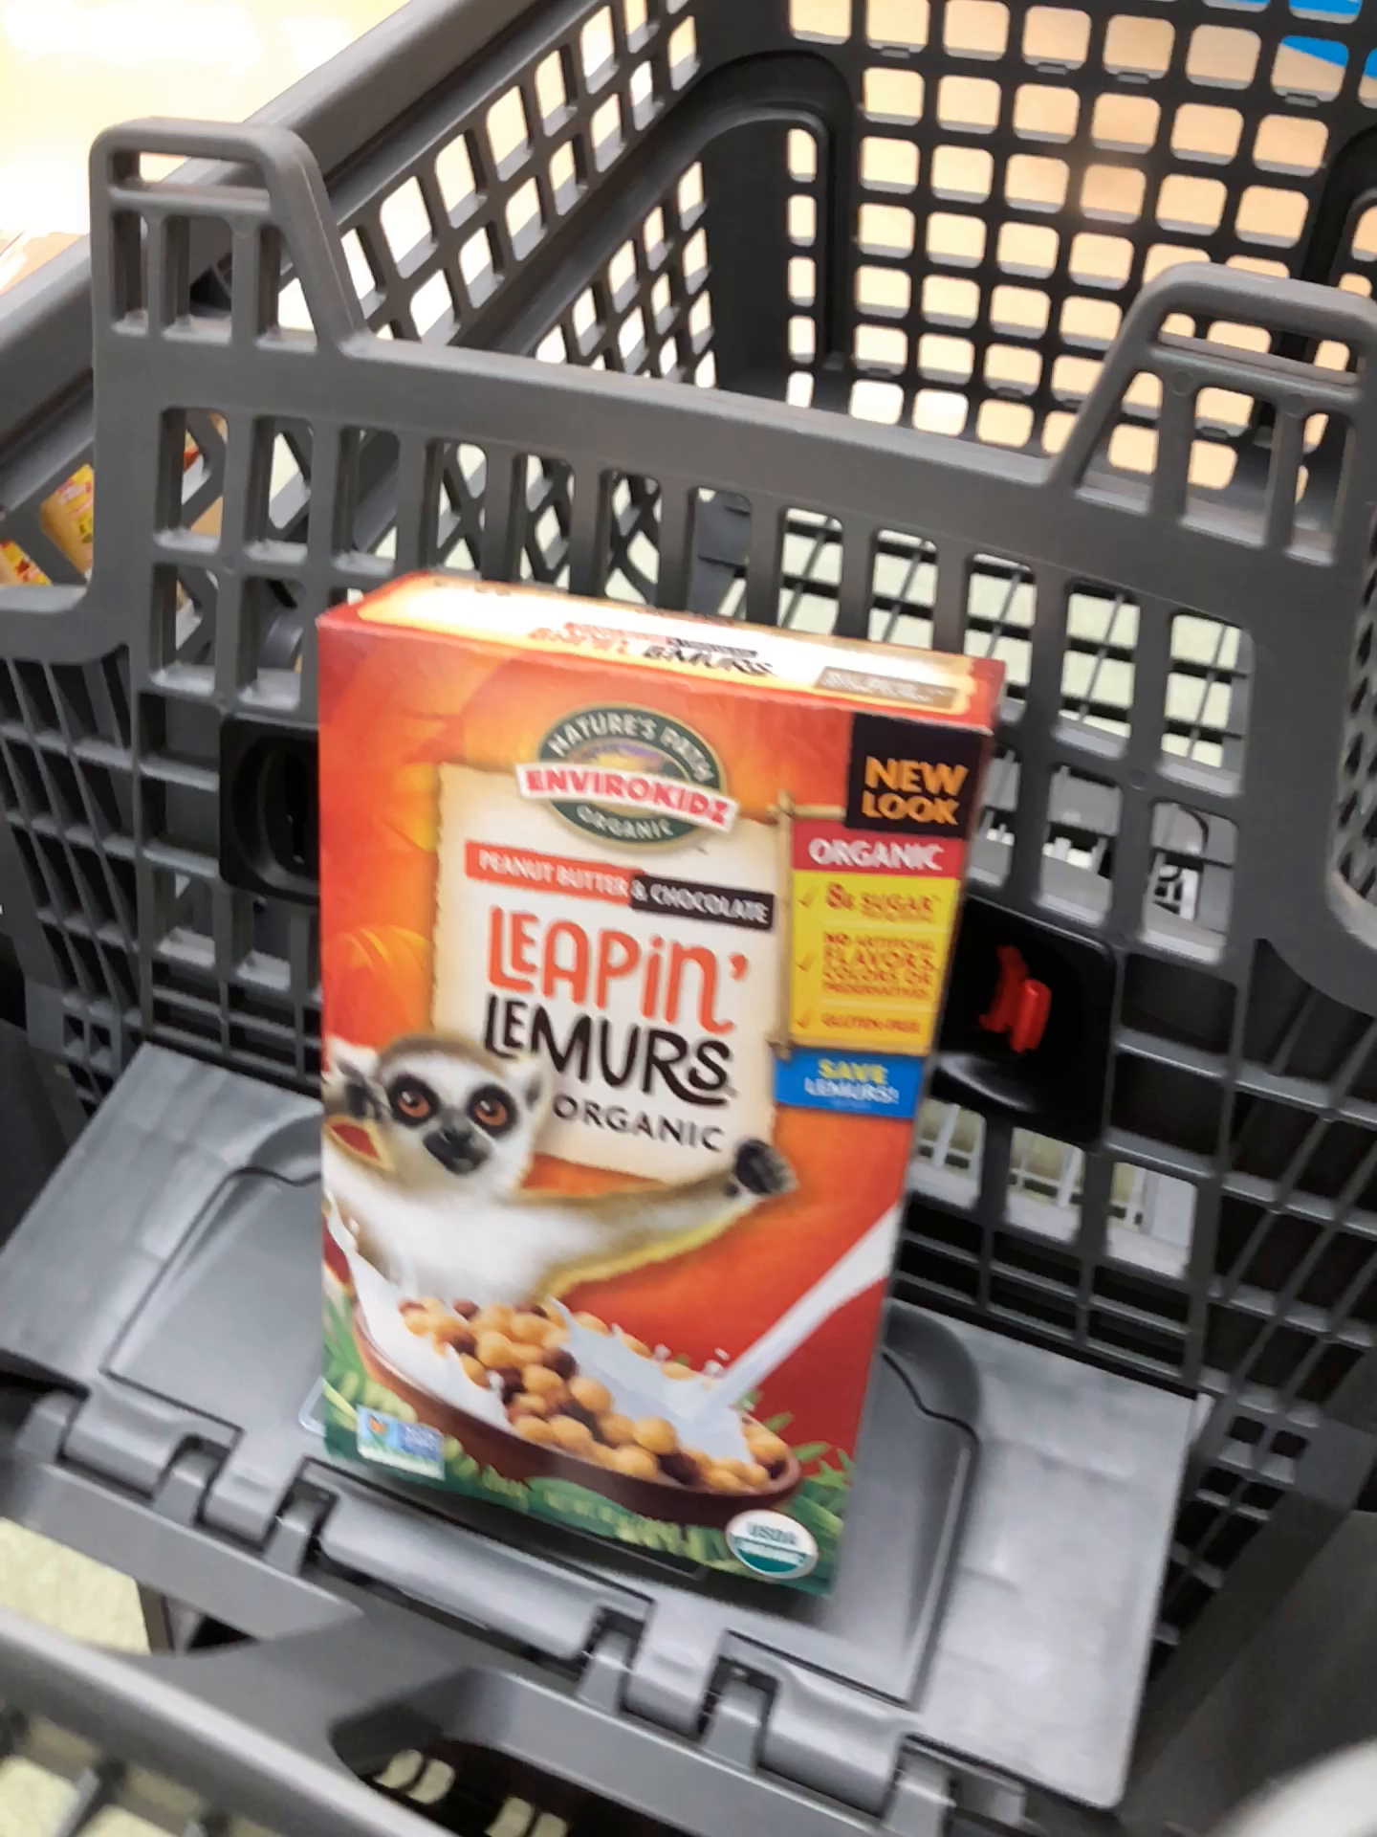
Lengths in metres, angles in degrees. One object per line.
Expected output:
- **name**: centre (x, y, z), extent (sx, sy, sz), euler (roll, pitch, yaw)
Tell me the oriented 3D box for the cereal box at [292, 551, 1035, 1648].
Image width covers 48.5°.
- **cereal box**: centre (-0.014, 0.050, 0.407), extent (0.160, 0.260, 0.070), euler (11, 24, 12)
